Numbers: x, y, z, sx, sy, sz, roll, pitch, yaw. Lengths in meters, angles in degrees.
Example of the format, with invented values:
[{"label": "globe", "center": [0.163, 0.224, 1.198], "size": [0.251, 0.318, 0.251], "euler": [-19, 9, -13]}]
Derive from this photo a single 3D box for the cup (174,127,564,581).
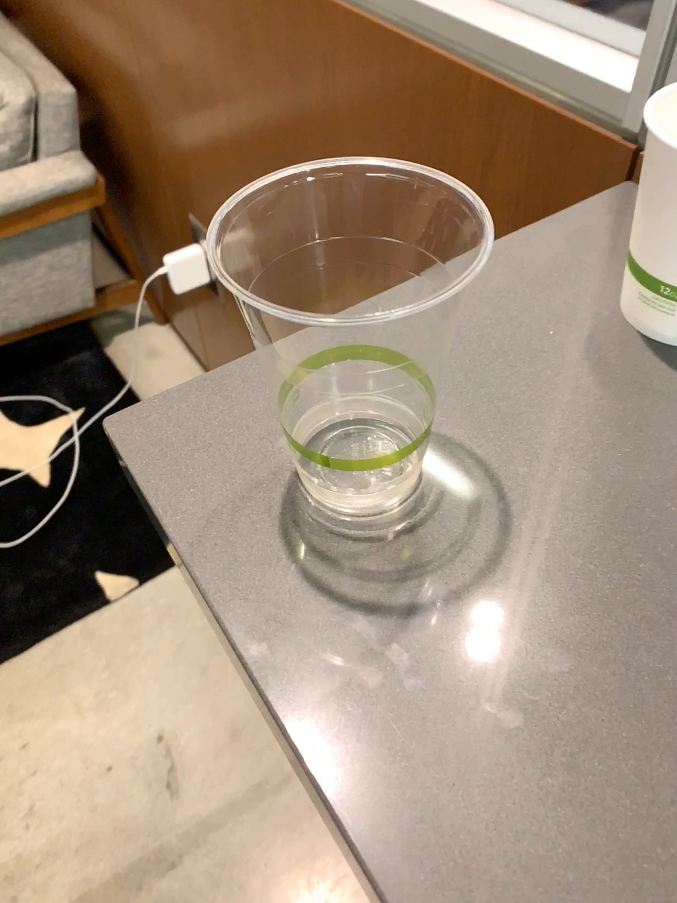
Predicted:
[{"label": "cup", "center": [0.008, -0.036, 0.268], "size": [0.090, 0.119, 0.090], "euler": [-1, 49, 1]}]
